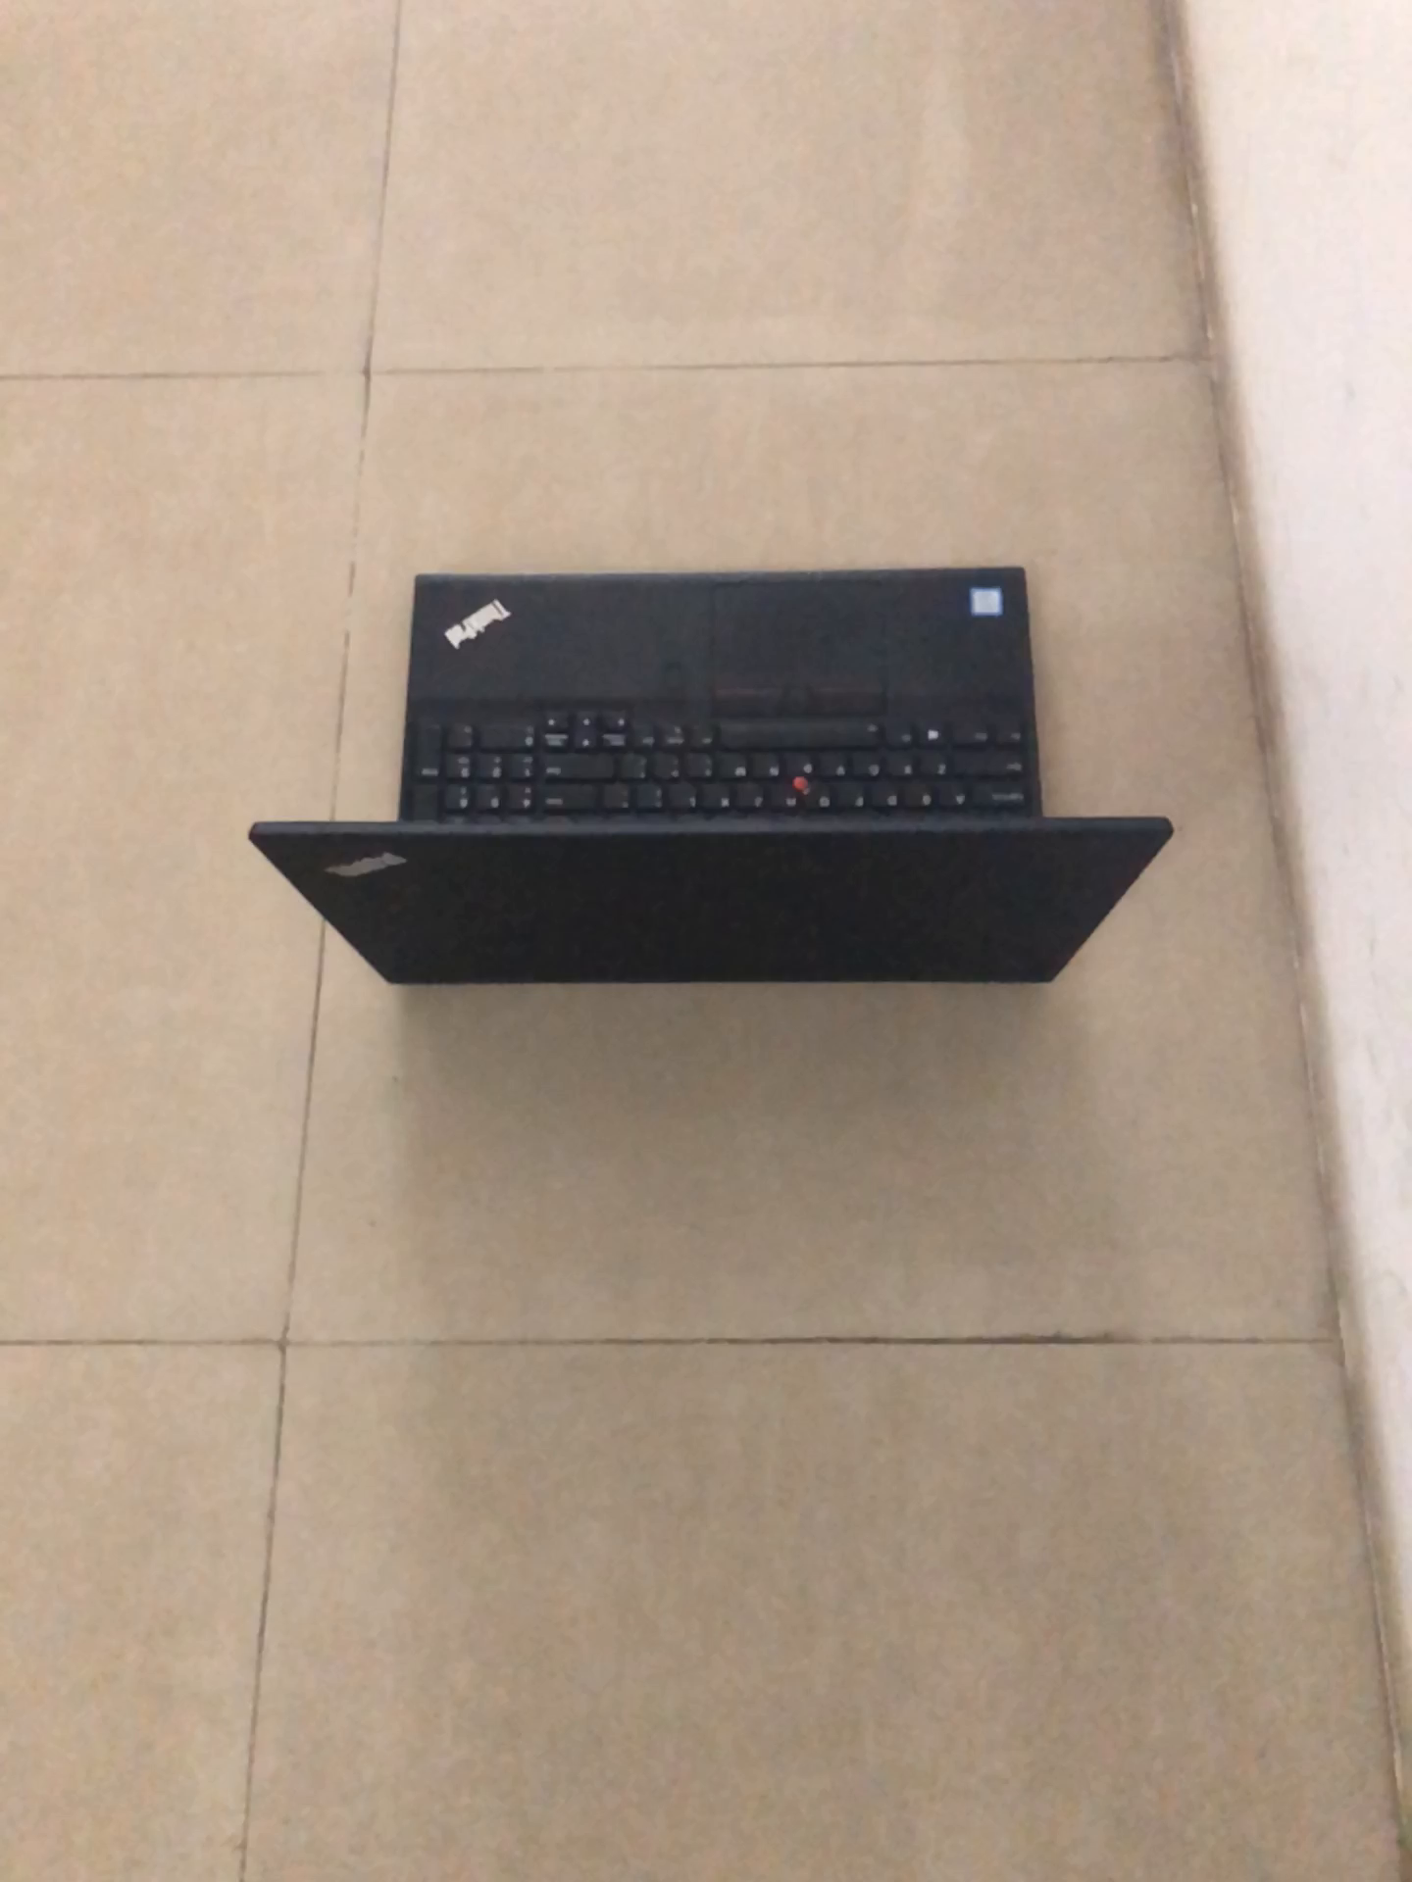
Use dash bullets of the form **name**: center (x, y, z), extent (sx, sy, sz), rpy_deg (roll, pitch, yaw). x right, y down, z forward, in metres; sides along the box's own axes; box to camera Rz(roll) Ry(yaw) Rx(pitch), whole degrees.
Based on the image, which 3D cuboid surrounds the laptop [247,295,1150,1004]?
- **laptop**: center (0.002, -0.126, 0.763), extent (0.353, 0.241, 0.255), rpy_deg (0, 72, 1)
